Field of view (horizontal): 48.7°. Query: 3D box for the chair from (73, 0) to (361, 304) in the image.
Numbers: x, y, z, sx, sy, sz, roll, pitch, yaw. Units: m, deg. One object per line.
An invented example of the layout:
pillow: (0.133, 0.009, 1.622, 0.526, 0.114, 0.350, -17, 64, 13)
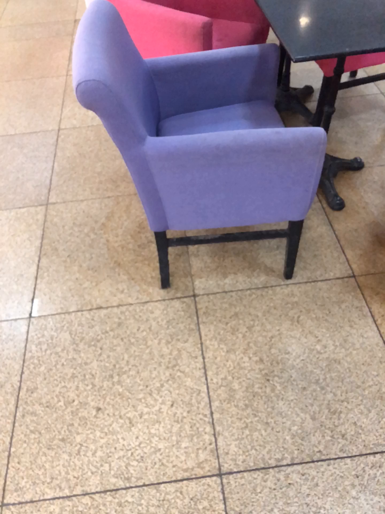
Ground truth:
chair: (0.039, -0.357, 1.396, 0.610, 0.817, 0.592, -7, 50, -2)
